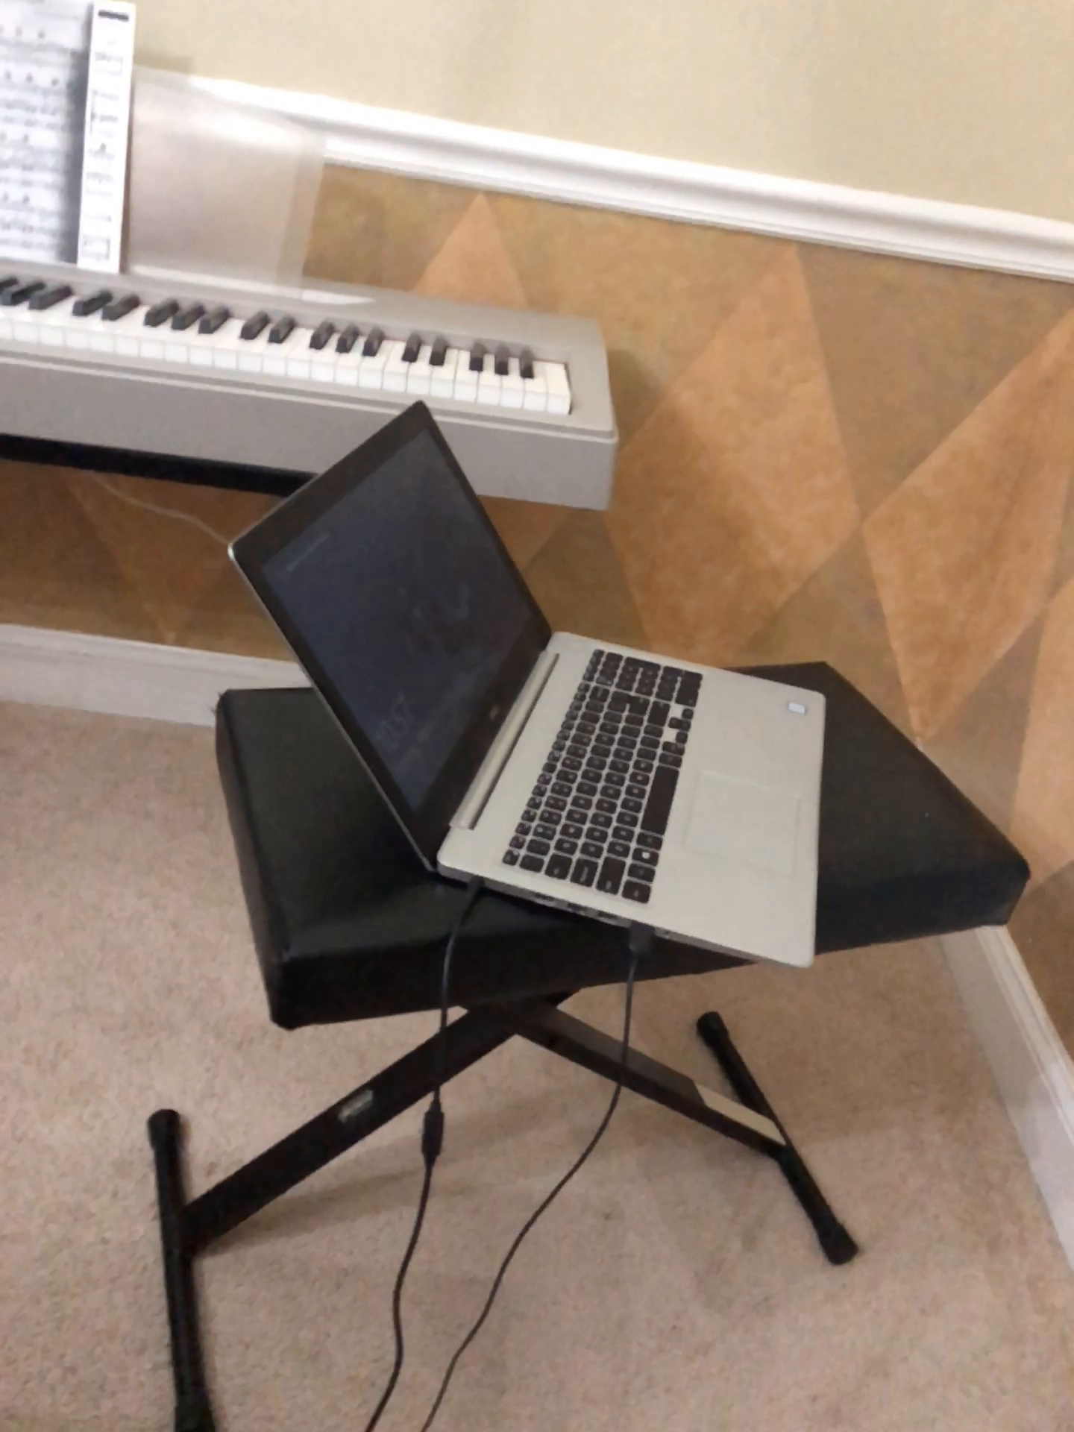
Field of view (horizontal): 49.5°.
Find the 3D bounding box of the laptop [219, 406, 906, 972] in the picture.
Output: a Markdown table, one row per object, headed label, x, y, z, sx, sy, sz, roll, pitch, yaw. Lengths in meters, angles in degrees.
| label | x | y | z | sx | sy | sz | roll | pitch | yaw |
| --- | --- | --- | --- | --- | --- | --- | --- | --- | --- |
| laptop | 0.036 | -0.053 | 0.876 | 0.408 | 0.183 | 0.377 | 14 | 31 | 6 |
